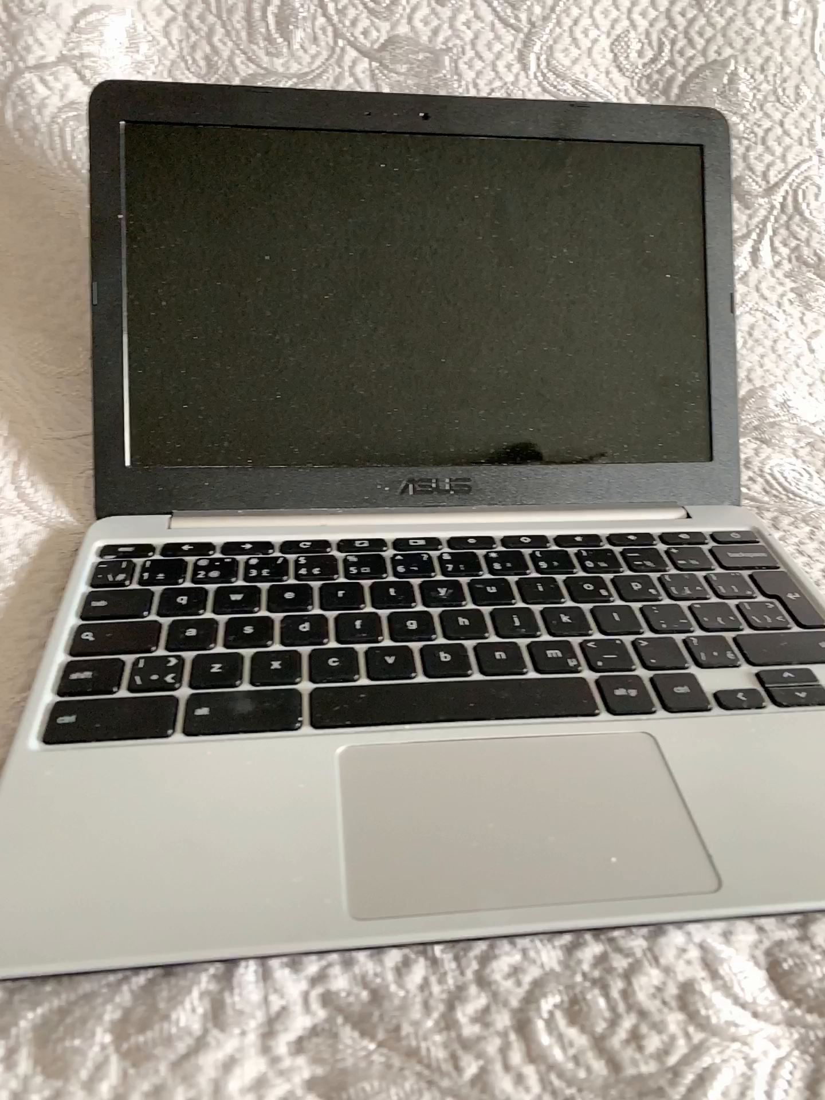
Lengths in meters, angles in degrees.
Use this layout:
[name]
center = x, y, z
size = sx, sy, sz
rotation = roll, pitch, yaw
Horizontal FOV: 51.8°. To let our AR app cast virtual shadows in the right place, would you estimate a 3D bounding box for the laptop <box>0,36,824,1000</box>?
[laptop]
center = 0.020, -0.049, 0.292
size = 0.288, 0.127, 0.288
rotation = -1, 41, -15
